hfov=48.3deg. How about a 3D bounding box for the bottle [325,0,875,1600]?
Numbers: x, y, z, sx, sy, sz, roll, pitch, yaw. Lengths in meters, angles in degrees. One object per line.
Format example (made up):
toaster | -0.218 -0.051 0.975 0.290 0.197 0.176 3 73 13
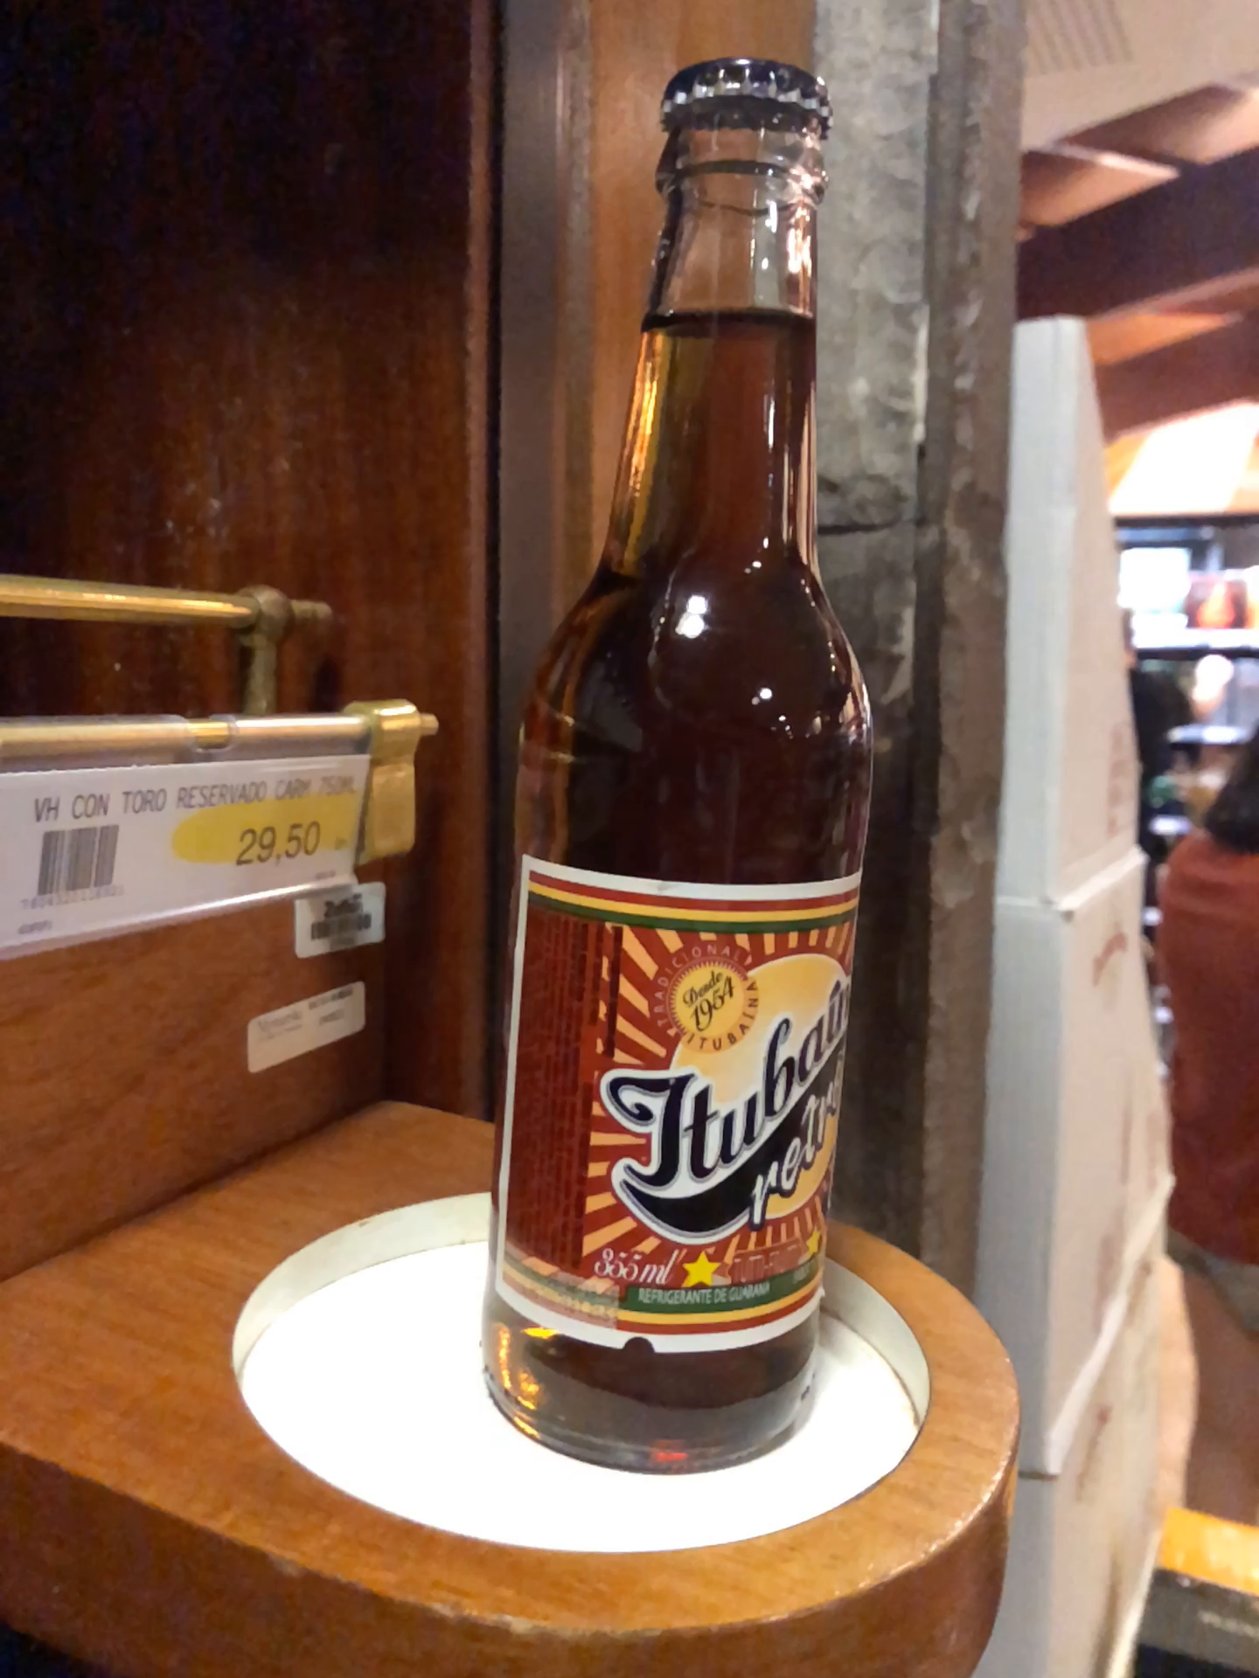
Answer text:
bottle | -0.006 -0.008 0.263 0.070 0.250 0.070 1 5 0
